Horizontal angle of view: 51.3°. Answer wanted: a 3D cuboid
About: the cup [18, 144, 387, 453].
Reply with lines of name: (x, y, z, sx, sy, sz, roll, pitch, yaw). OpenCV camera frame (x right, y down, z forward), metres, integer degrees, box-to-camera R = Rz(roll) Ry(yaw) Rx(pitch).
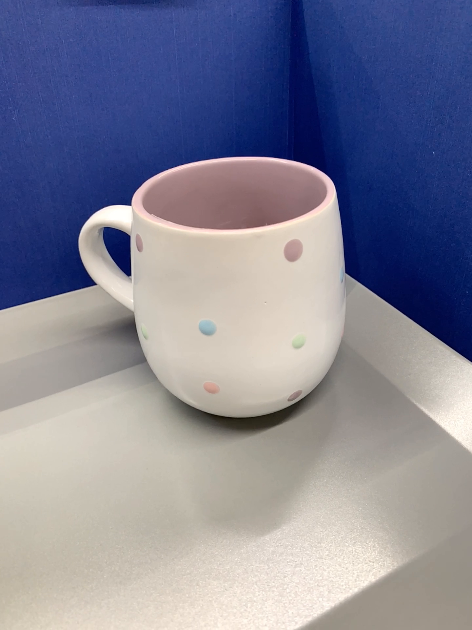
cup: (-0.010, -0.020, 0.239, 0.130, 0.088, 0.097, 15, 36, 24)
